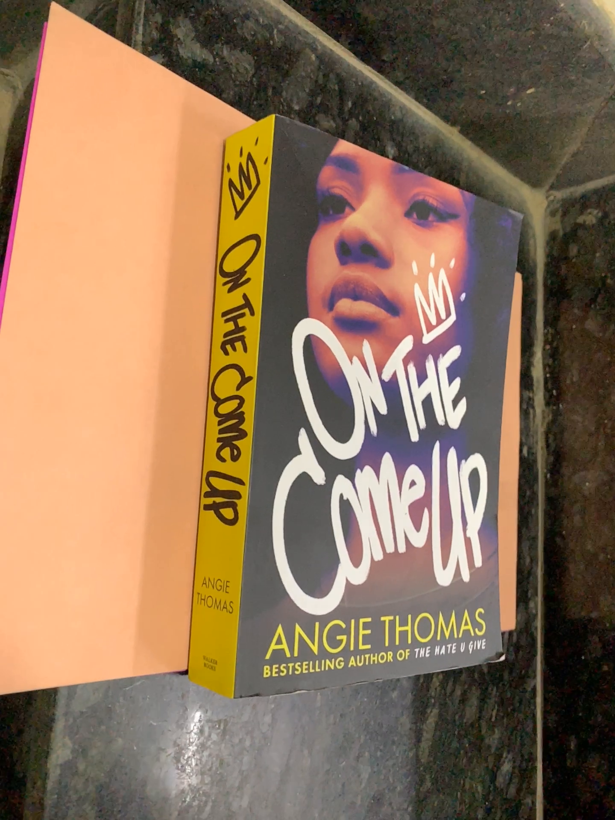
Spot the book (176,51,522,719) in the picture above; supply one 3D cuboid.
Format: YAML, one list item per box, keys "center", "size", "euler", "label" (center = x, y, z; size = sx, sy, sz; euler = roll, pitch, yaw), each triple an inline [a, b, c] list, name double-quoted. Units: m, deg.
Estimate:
- center: [0.026, -0.005, 0.244]
  size: [0.131, 0.040, 0.200]
  euler: [9, 80, -37]
  label: "book"
